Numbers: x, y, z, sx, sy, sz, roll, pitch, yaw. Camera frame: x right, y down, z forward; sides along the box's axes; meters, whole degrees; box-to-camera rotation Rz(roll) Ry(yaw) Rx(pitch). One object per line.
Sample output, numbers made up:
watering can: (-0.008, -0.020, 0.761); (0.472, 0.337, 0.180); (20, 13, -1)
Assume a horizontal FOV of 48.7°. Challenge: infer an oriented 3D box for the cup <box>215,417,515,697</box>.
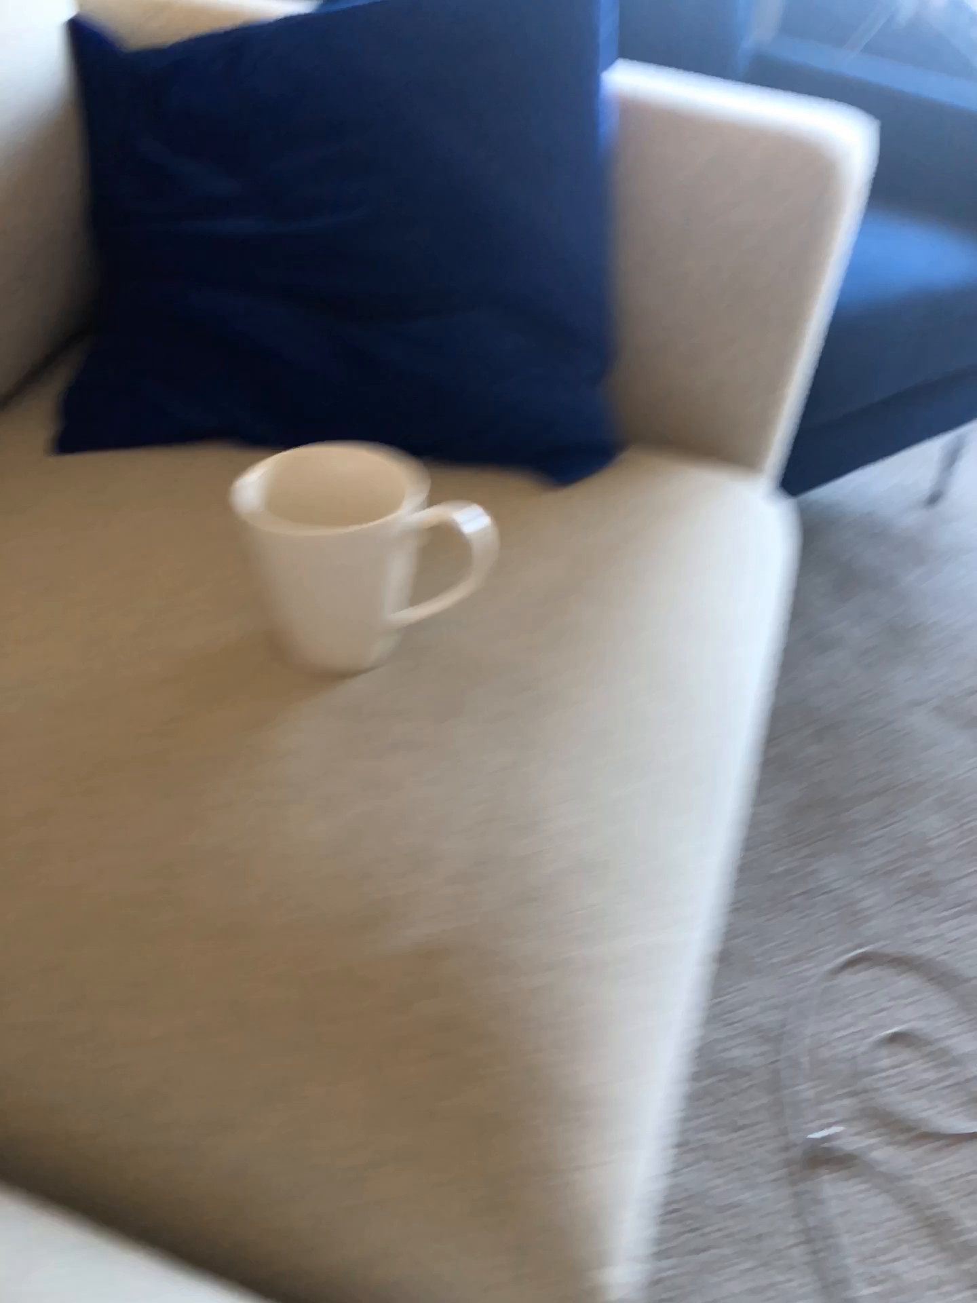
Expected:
cup: (-0.065, -0.054, 0.589); (0.130, 0.090, 0.100); (13, 37, 7)
